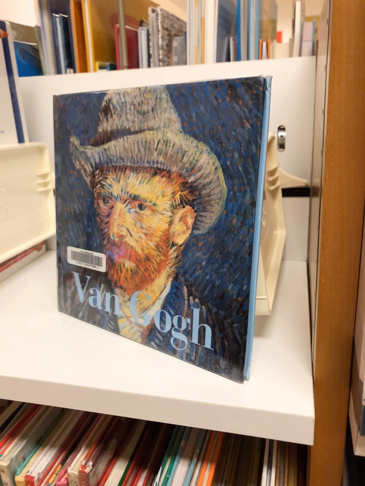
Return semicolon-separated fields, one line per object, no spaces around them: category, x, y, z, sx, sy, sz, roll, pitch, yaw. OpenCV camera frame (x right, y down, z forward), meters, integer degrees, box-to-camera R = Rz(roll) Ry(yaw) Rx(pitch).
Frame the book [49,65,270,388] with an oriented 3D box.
book;-0.034;-0.018;0.310;0.200;0.198;0.013;10;13;37
